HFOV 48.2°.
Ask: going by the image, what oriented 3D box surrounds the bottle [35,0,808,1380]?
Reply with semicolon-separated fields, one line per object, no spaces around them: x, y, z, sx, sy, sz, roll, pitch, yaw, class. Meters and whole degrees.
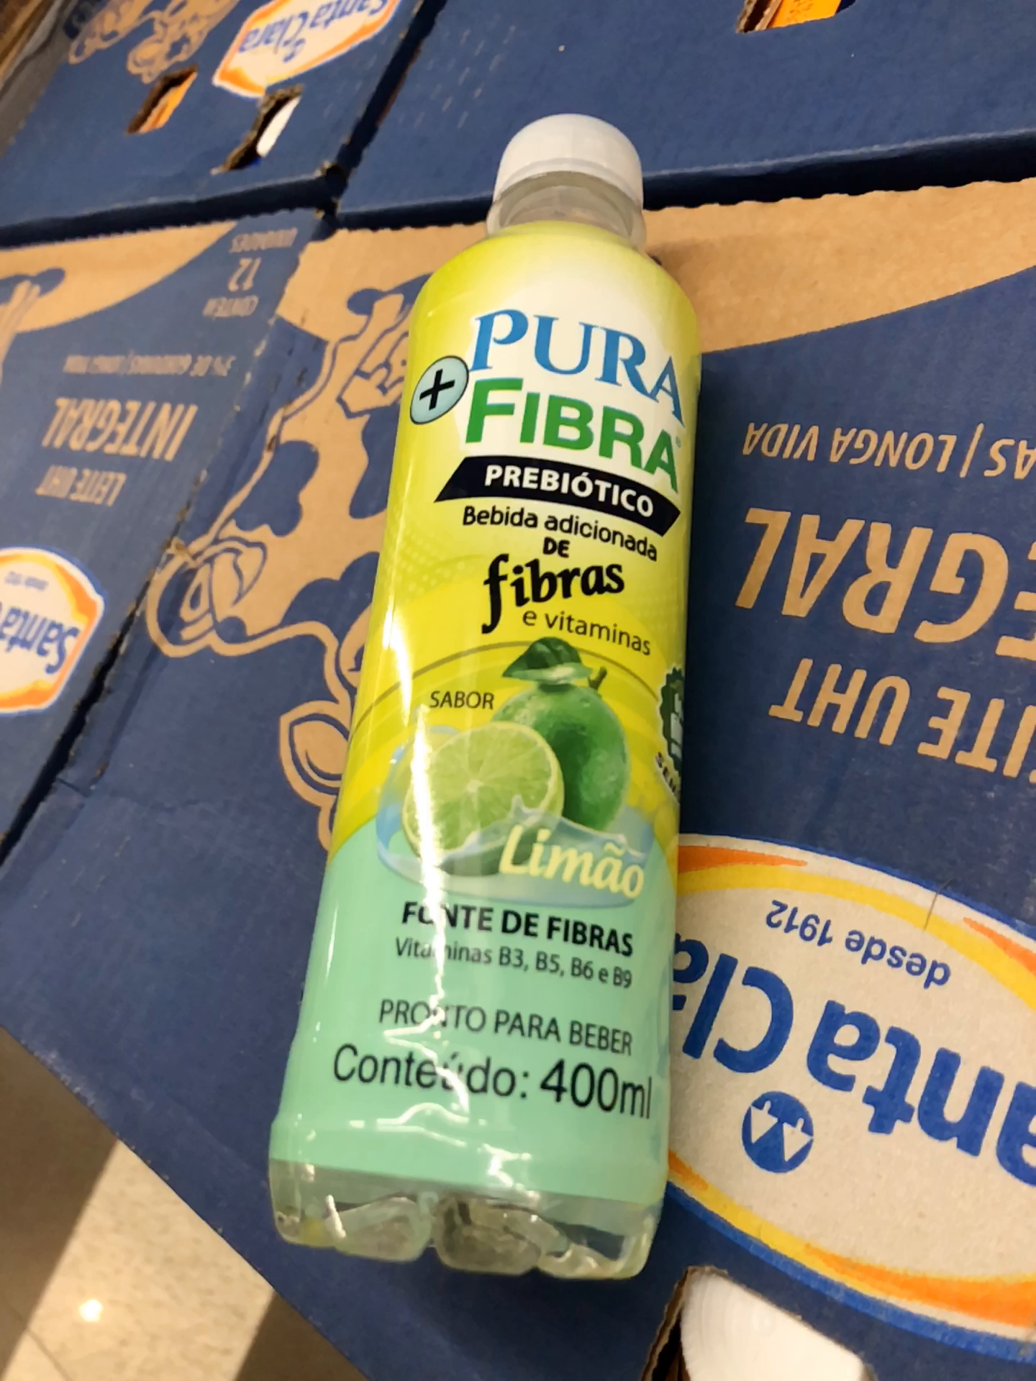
0.002;-0.026;0.204;0.070;0.060;0.251;-10;57;33;bottle
